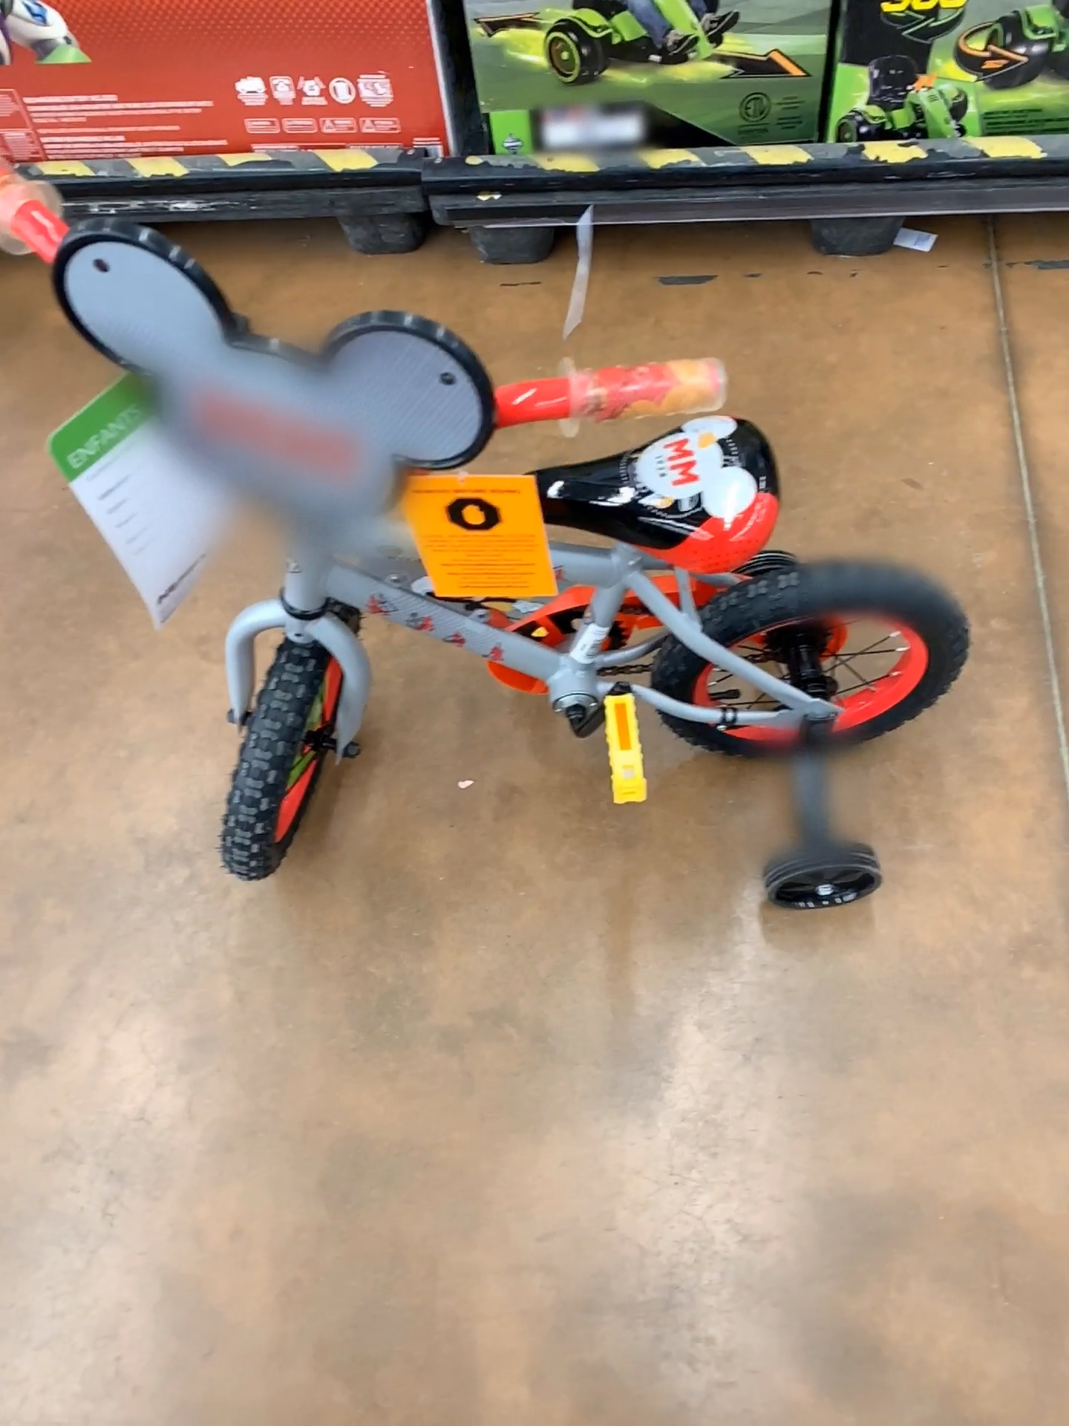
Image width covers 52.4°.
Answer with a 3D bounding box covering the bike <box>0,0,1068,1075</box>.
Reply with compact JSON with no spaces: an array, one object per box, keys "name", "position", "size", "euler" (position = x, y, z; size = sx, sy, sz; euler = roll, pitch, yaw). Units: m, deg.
[{"name":"bike","position":[0.016,-0.107,0.869],"size":[0.640,0.689,0.453],"euler":[-14,56,3]}]
